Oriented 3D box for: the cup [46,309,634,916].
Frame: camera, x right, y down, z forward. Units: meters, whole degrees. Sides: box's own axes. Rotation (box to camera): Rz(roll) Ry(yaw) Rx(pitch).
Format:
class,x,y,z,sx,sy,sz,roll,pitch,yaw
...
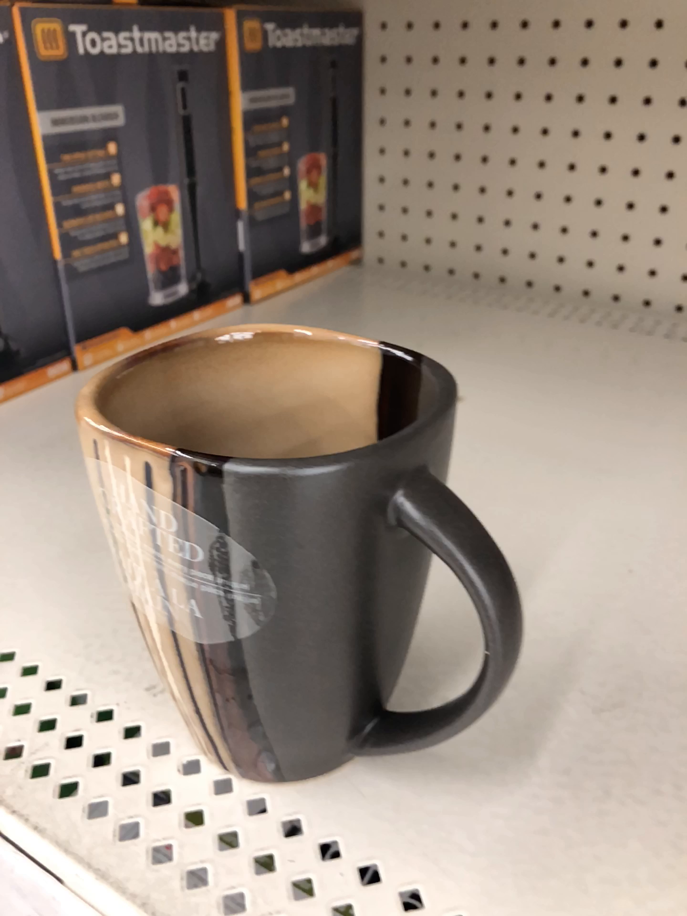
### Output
class,x,y,z,sx,sy,sz,roll,pitch,yaw
cup,0.001,0.033,0.220,0.120,0.110,0.087,16,33,28
